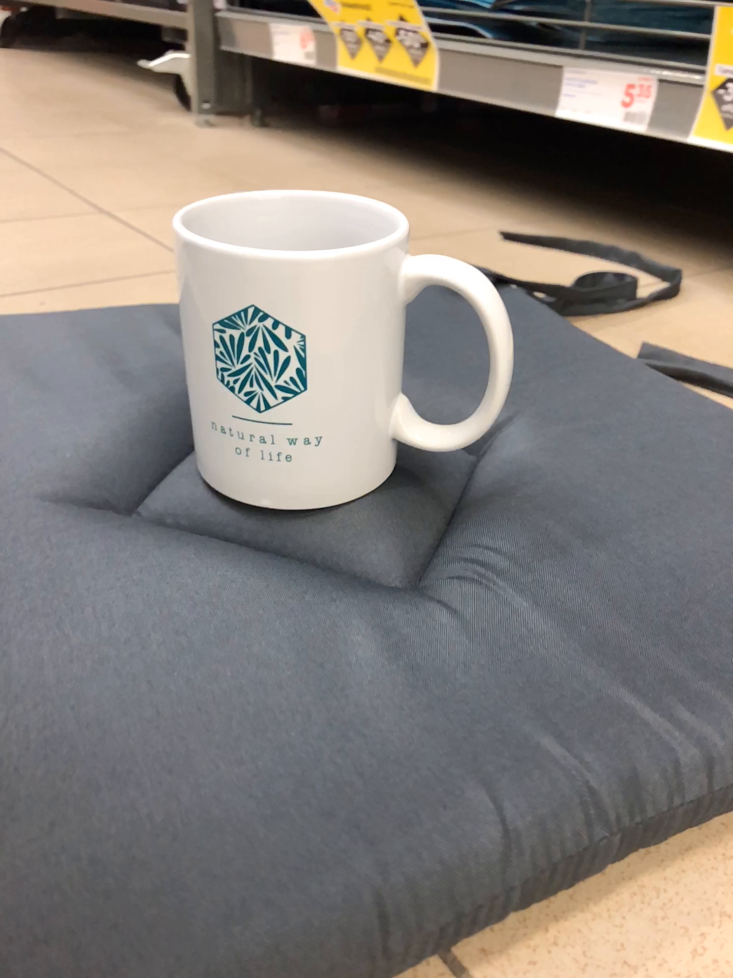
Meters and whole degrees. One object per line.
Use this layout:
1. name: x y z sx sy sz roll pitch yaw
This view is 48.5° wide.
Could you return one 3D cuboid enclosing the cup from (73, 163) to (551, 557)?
1. cup: -0.013 -0.052 0.284 0.130 0.089 0.091 12 32 13
